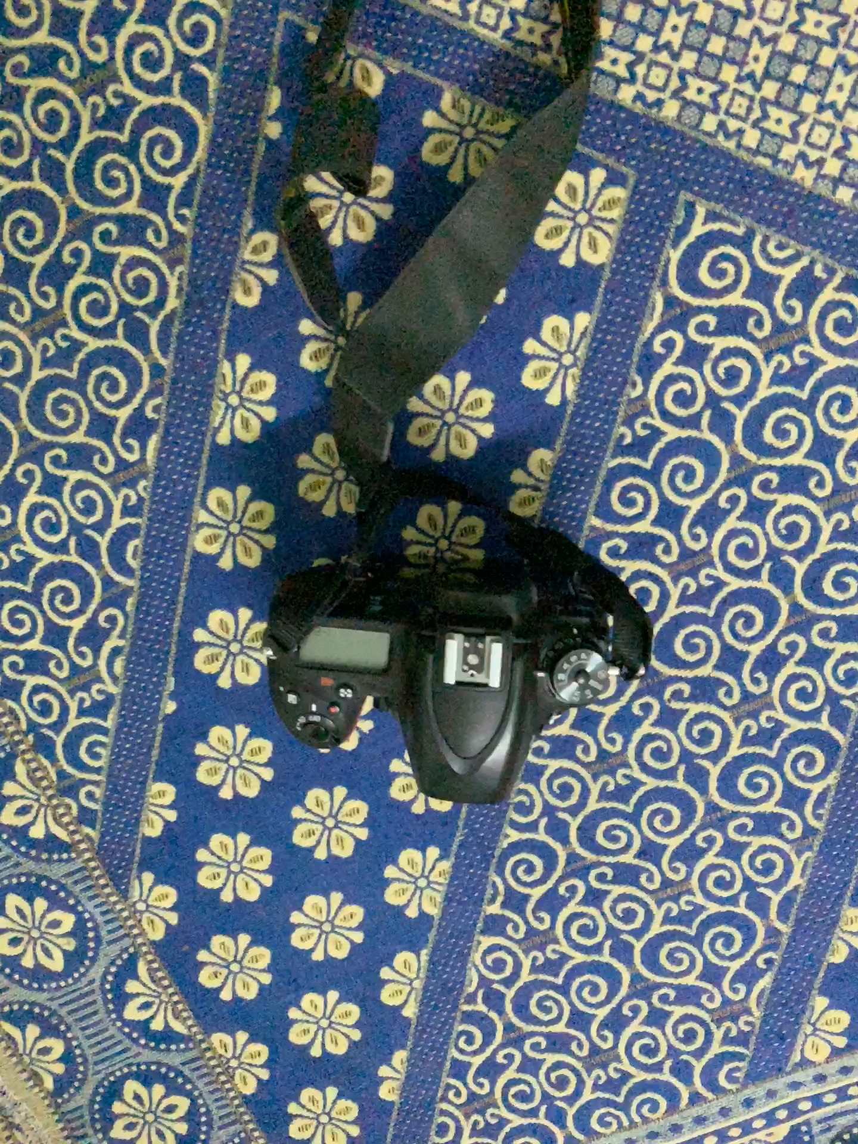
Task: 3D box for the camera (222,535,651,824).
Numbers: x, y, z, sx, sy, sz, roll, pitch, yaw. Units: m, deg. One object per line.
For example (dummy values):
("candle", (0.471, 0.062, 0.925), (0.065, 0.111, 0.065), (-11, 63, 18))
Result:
("camera", (0.004, 0.038, 0.361), (0.150, 0.090, 0.088), (2, 103, 4))
